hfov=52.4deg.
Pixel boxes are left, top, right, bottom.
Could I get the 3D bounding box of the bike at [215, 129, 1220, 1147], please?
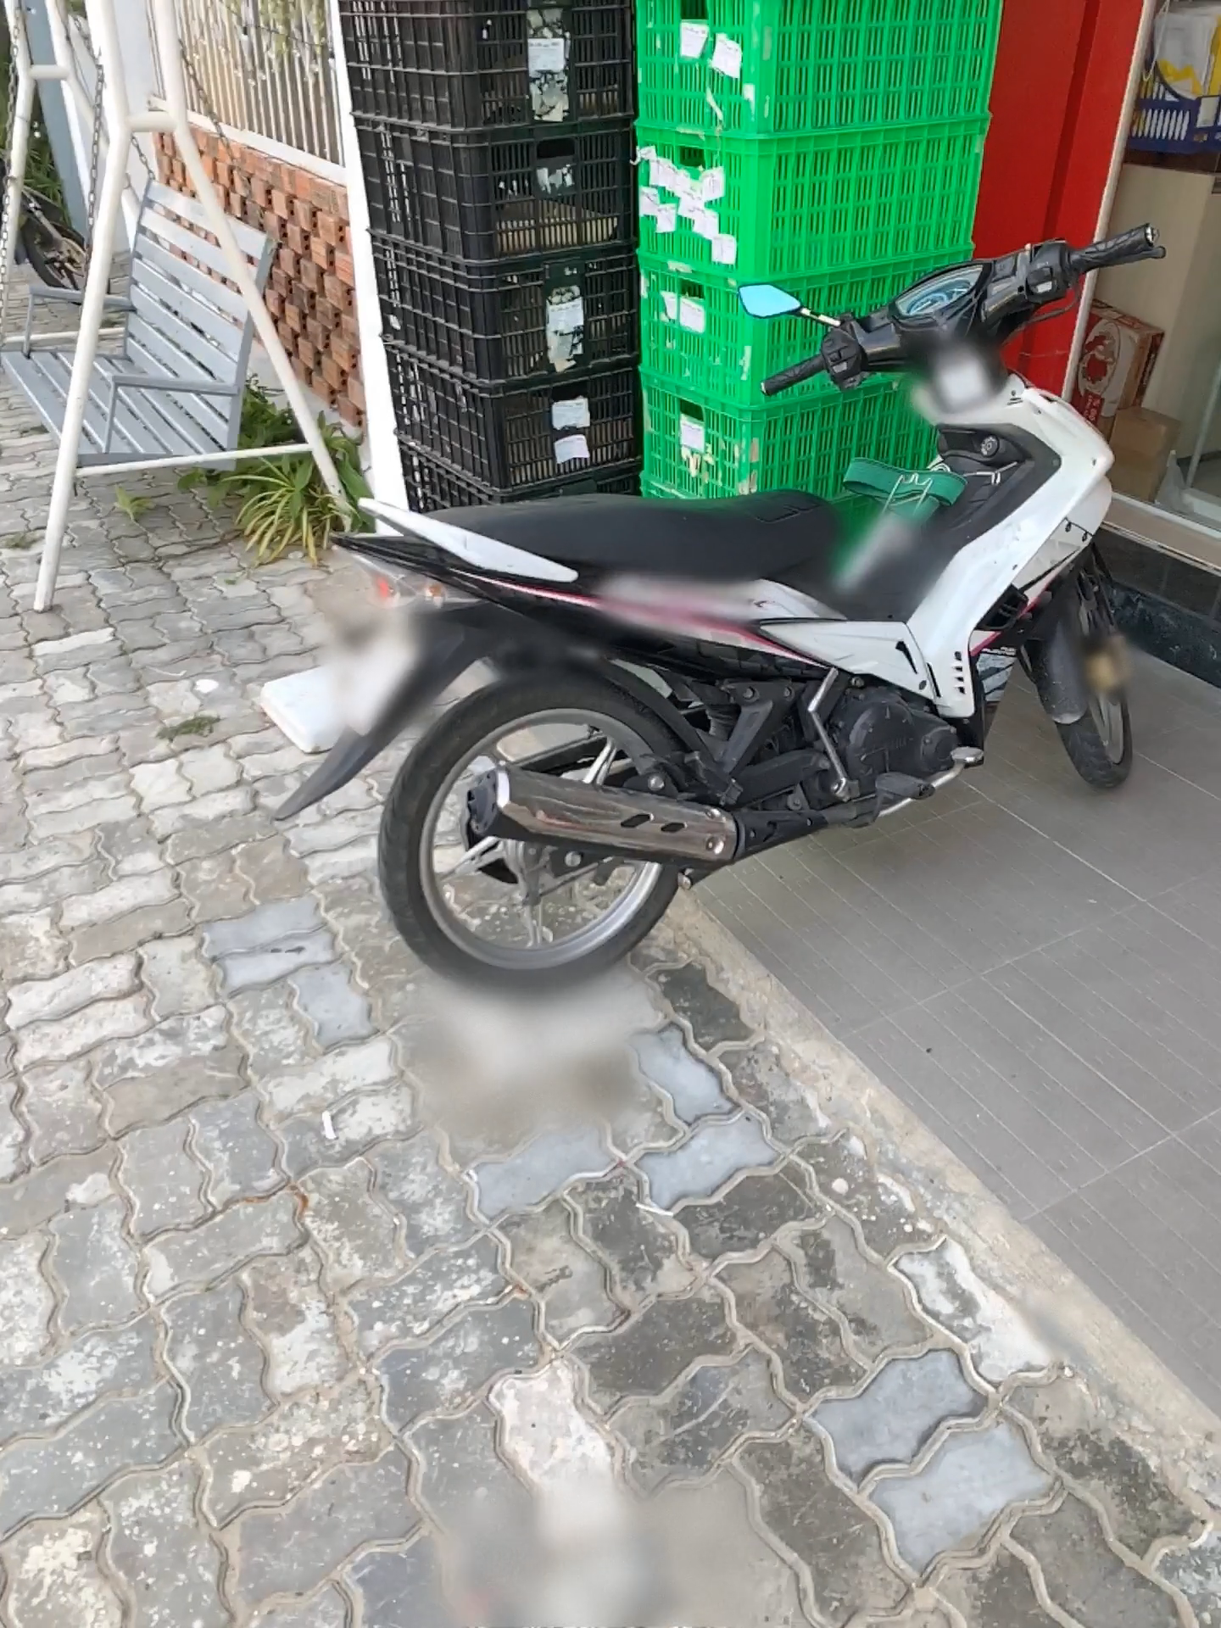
[{"bbox_3d":[0.345,-0.464,2.267,1.817,1.186,0.669,-23,39,-29],"label":"bike"}]
